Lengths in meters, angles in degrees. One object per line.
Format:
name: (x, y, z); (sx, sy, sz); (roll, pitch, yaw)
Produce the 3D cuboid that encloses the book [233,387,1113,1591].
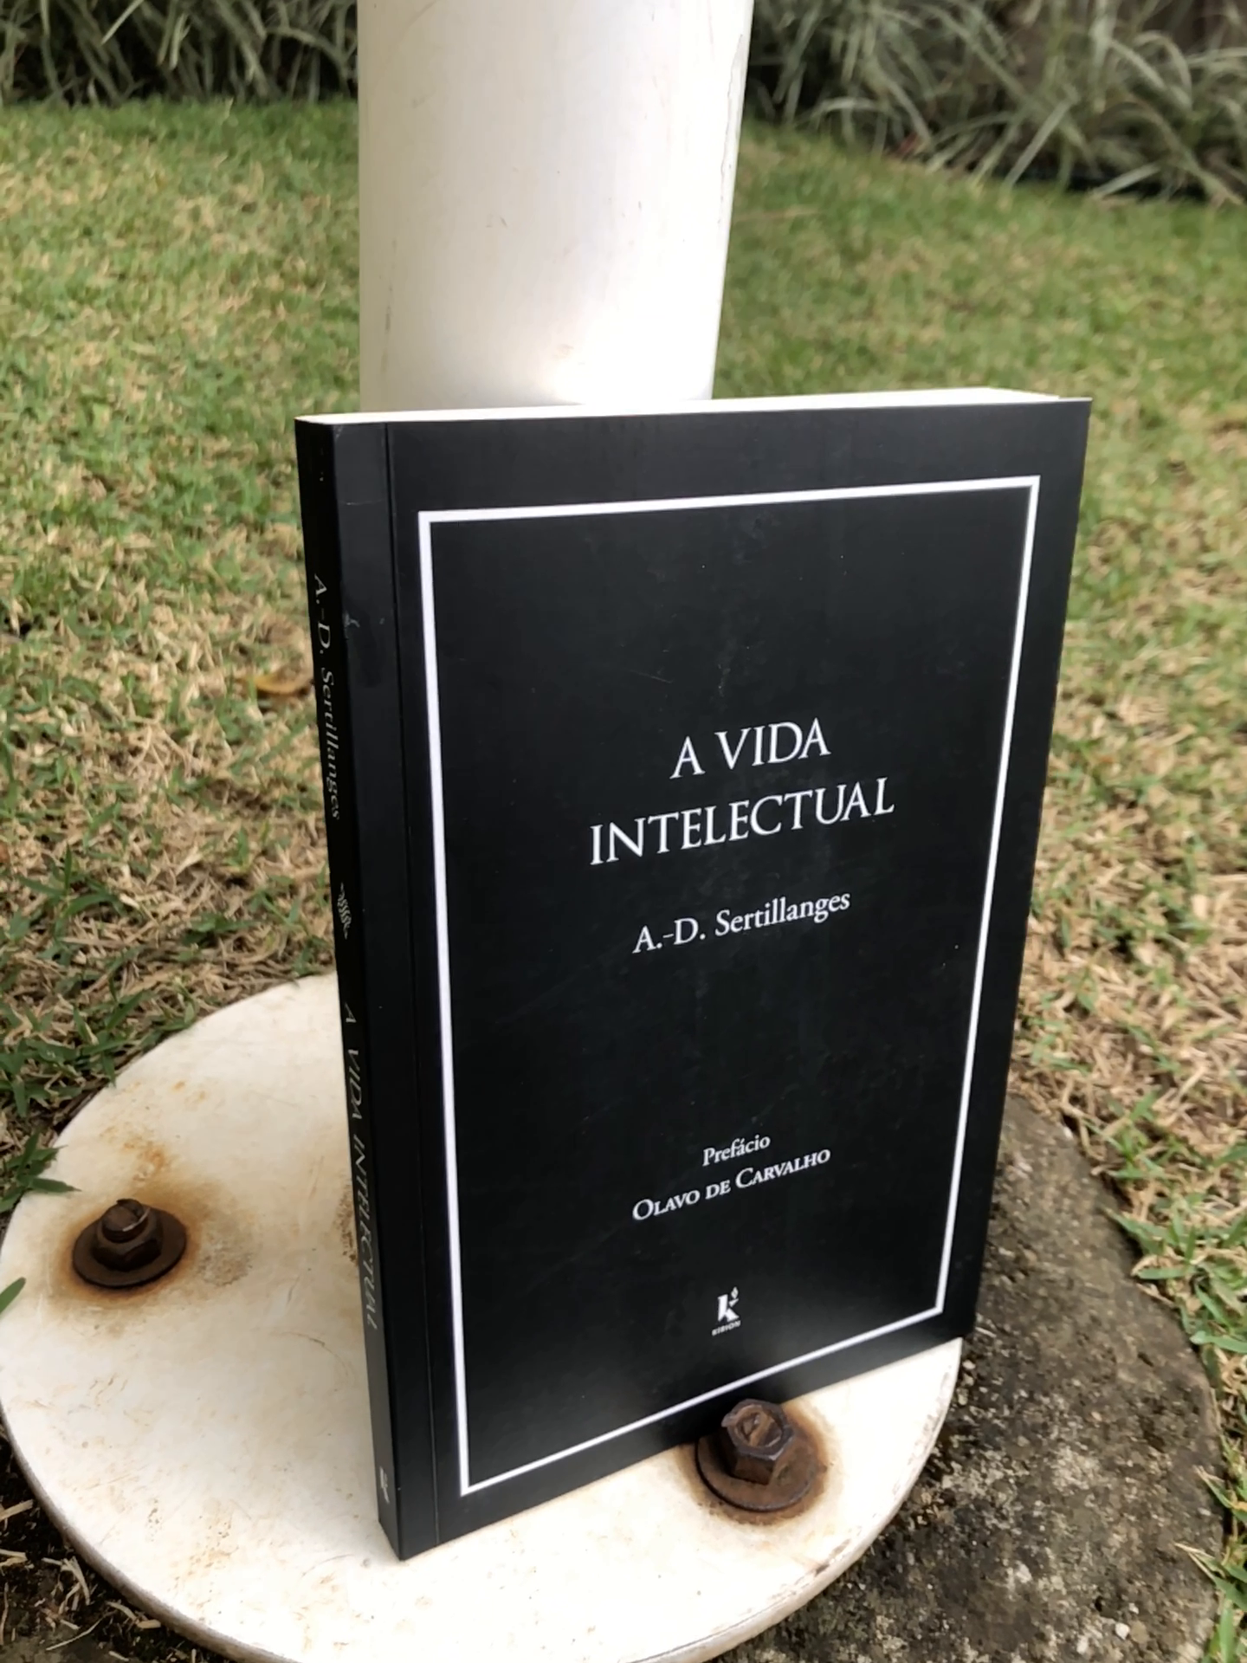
book: (0.014, 0.025, 0.247); (0.141, 0.193, 0.025); (-10, 22, -25)
